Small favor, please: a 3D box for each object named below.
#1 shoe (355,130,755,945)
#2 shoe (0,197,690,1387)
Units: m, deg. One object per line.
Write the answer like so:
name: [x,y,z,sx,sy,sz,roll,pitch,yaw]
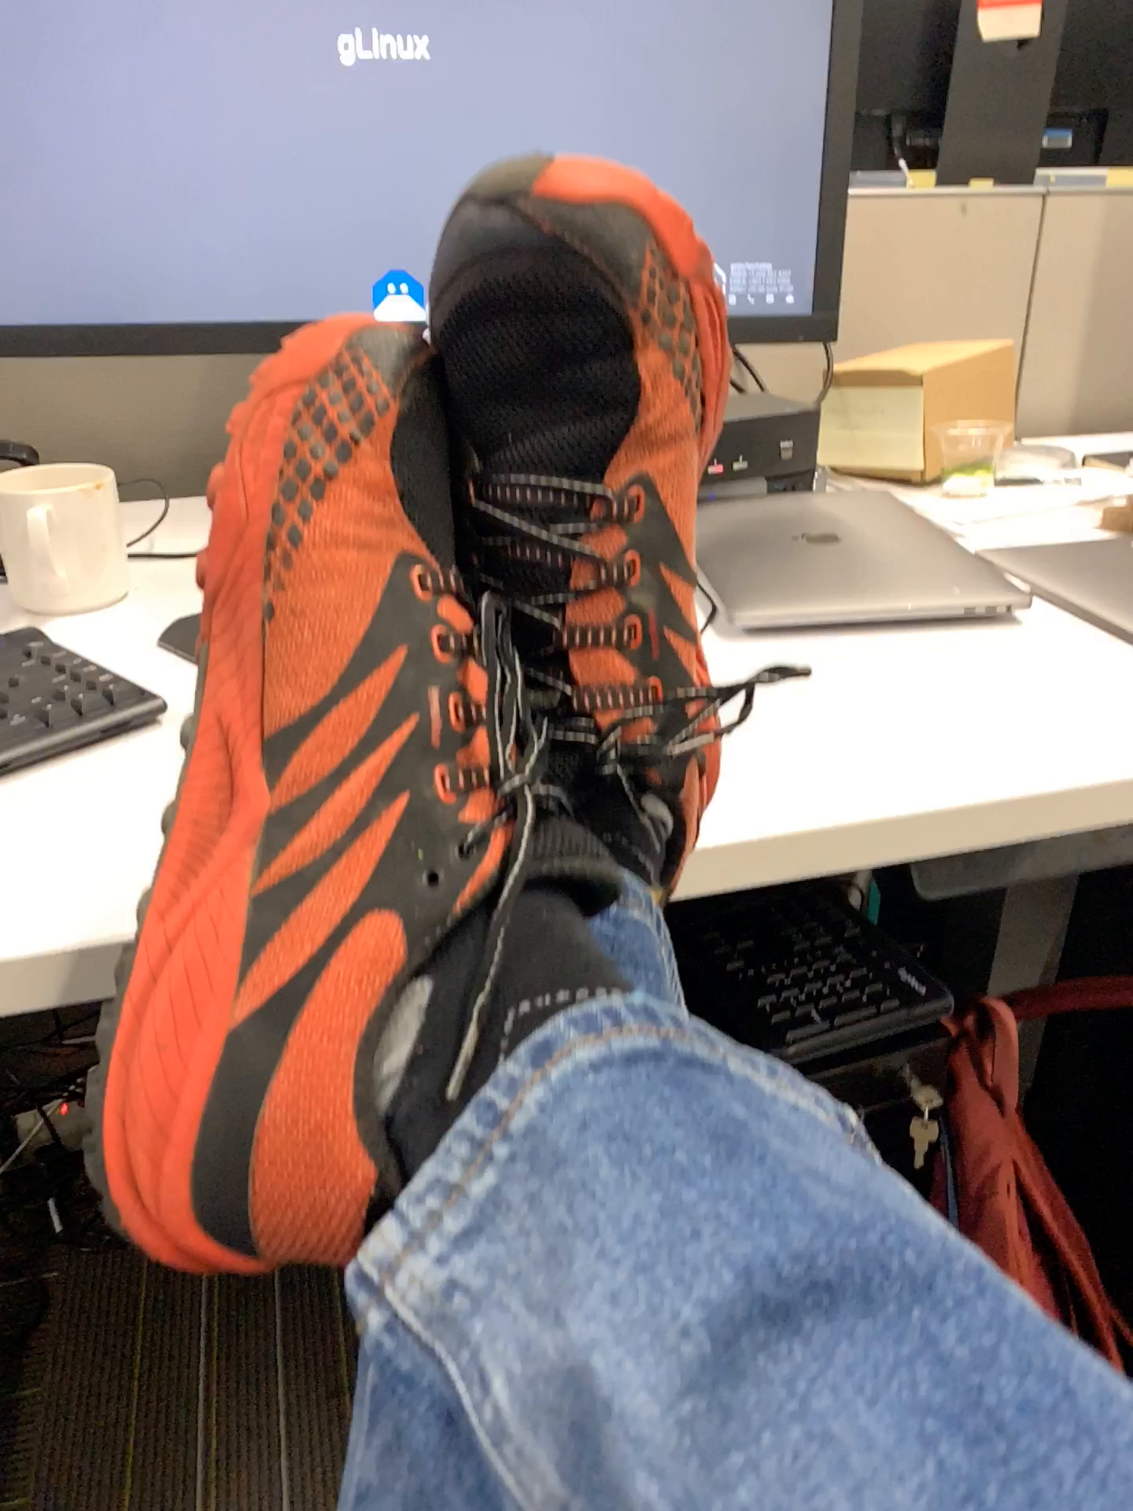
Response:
shoe: [0.009,-0.071,0.425,0.107,0.271,0.083,4,29,15]
shoe: [-0.058,-0.002,0.340,0.132,0.289,0.091,7,-8,18]
